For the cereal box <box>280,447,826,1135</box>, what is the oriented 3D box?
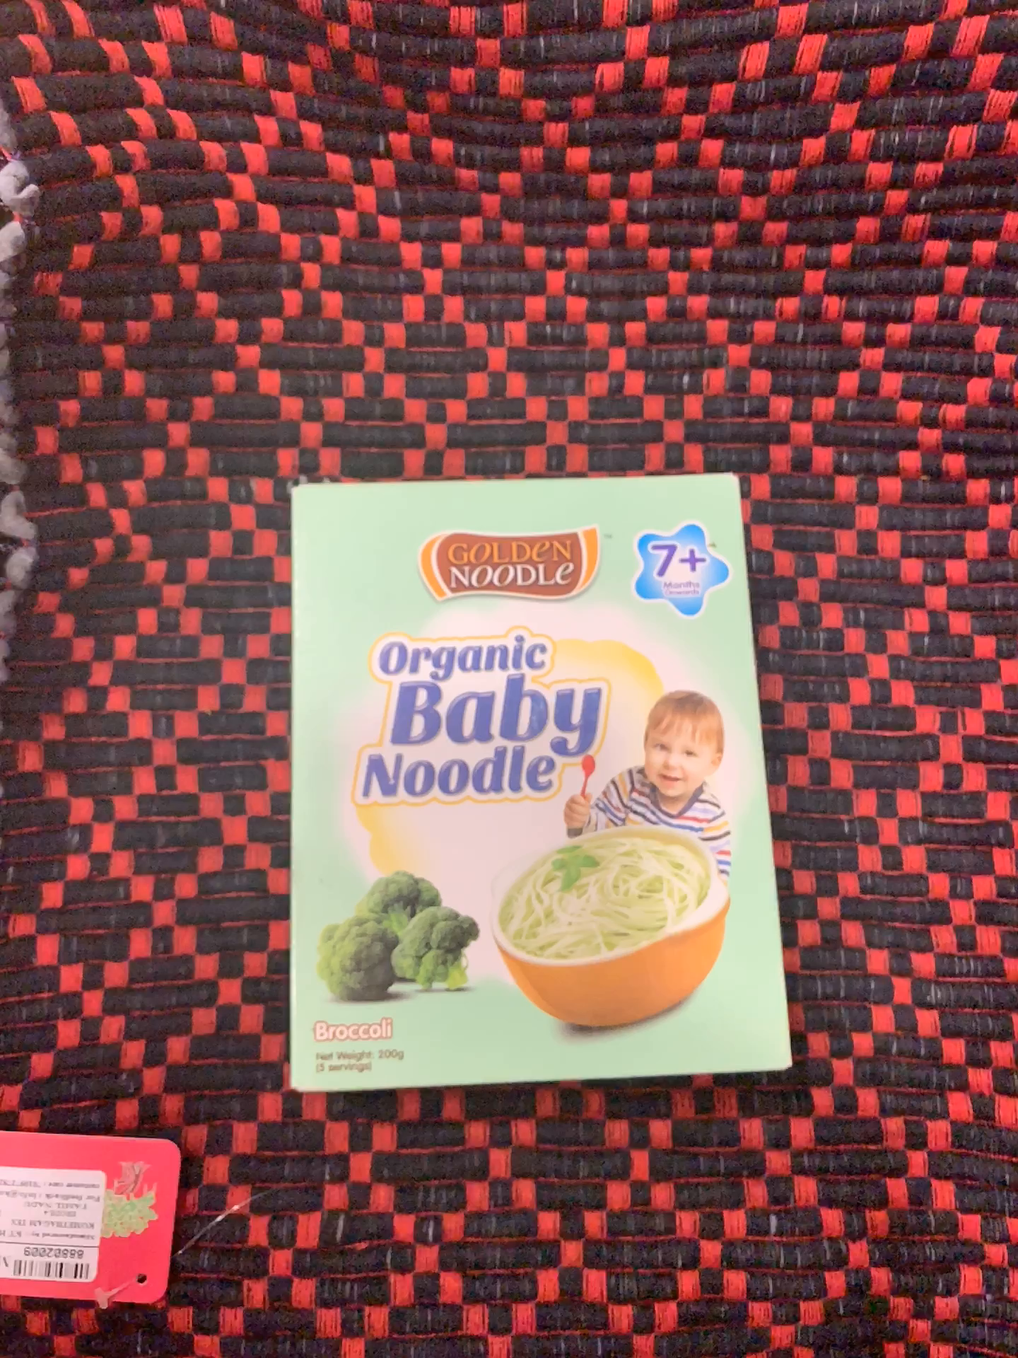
[{"bbox_3d":[0.007,0.028,0.298,0.130,0.060,0.170,-2,78,-3],"label":"cereal box"}]
